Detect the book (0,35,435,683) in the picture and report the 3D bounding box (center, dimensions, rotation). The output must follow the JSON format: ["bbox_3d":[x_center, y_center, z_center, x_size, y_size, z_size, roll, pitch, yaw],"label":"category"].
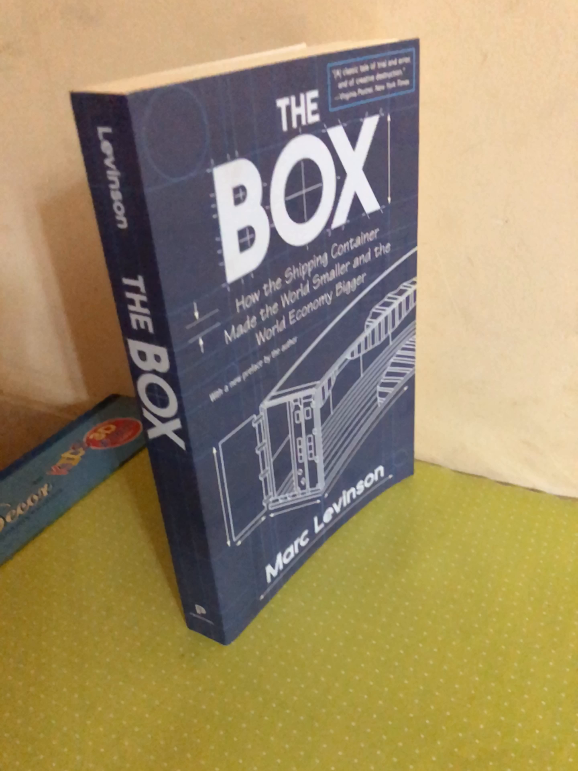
[{"bbox_3d":[-0.003,-0.022,0.280,0.050,0.219,0.181,16,35,32],"label":"book"}]
